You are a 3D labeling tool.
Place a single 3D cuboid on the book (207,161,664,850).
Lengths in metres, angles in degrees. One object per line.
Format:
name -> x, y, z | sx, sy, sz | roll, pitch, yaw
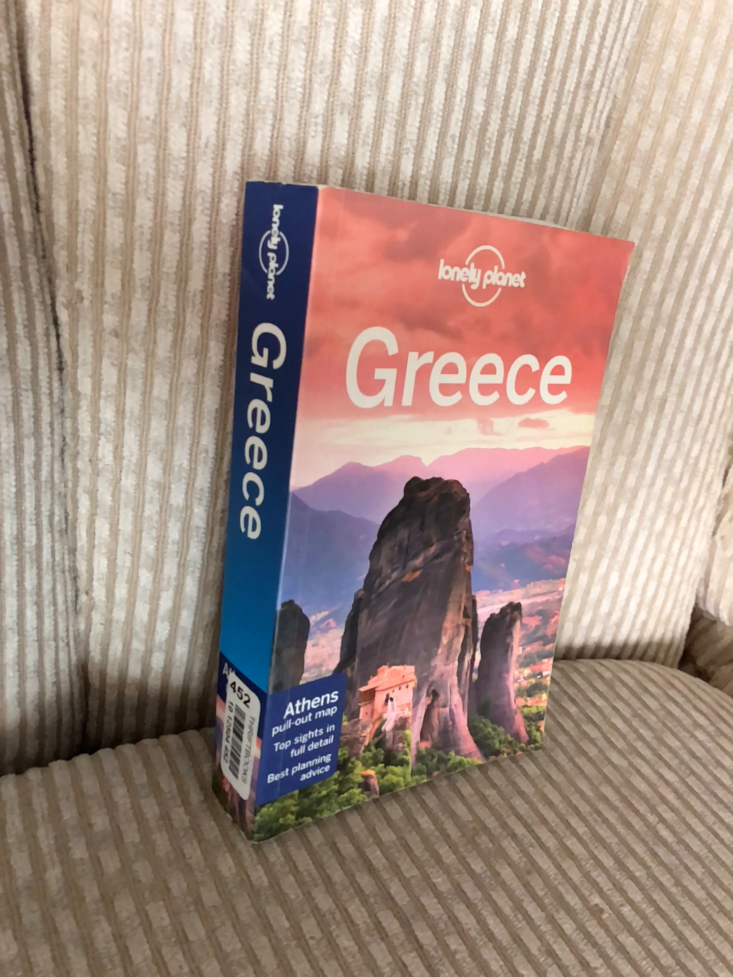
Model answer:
book -> 0.021, 0.006, 0.278 | 0.133, 0.201, 0.041 | -4, 18, -32
